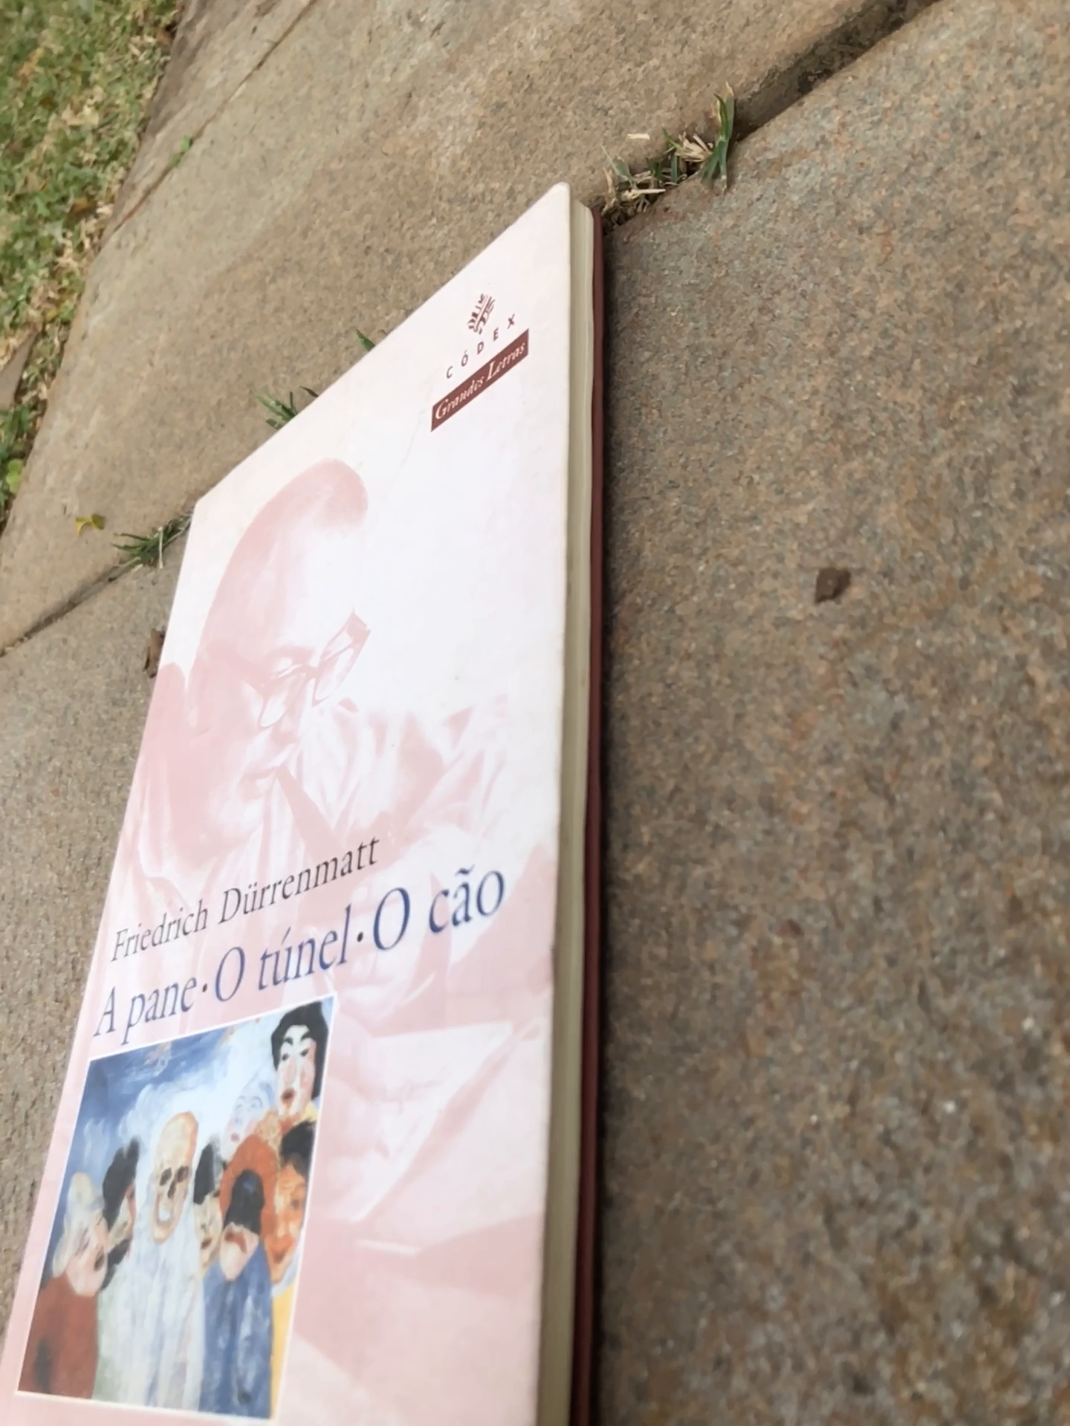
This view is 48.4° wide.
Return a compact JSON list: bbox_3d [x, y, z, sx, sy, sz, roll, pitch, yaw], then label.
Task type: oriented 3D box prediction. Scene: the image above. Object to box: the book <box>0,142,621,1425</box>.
[{"bbox_3d":[-0.042,0.015,0.205,0.141,0.015,0.200,-24,52,40],"label":"book"}]
